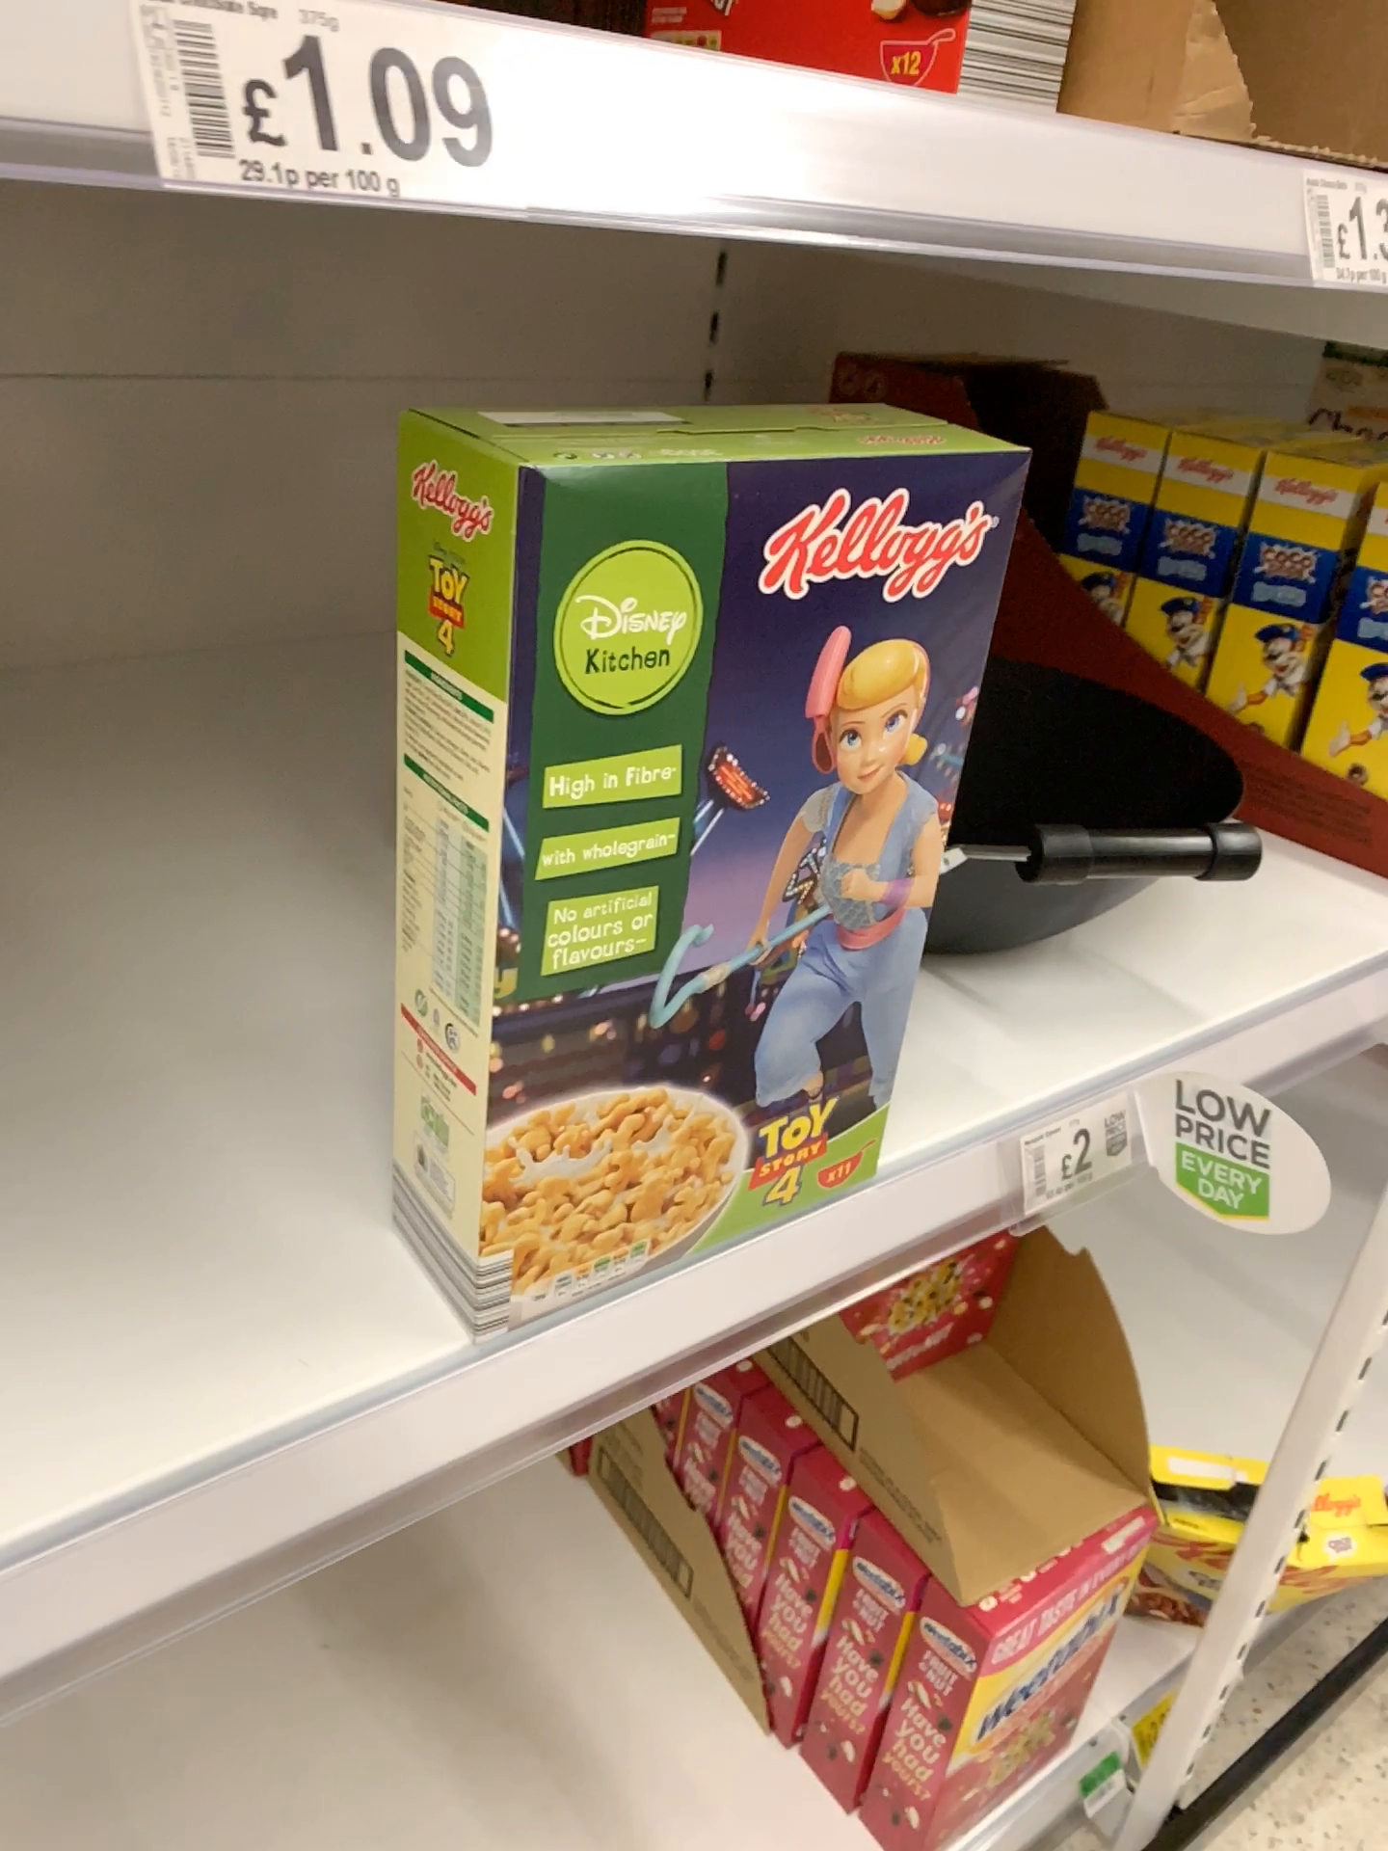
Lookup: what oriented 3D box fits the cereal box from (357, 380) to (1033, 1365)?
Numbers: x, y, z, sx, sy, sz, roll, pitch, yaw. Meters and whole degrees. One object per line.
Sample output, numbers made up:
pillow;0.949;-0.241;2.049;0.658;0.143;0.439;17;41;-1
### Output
cereal box;-0.009;-0.022;0.492;0.191;0.297;0.080;-14;34;-35
